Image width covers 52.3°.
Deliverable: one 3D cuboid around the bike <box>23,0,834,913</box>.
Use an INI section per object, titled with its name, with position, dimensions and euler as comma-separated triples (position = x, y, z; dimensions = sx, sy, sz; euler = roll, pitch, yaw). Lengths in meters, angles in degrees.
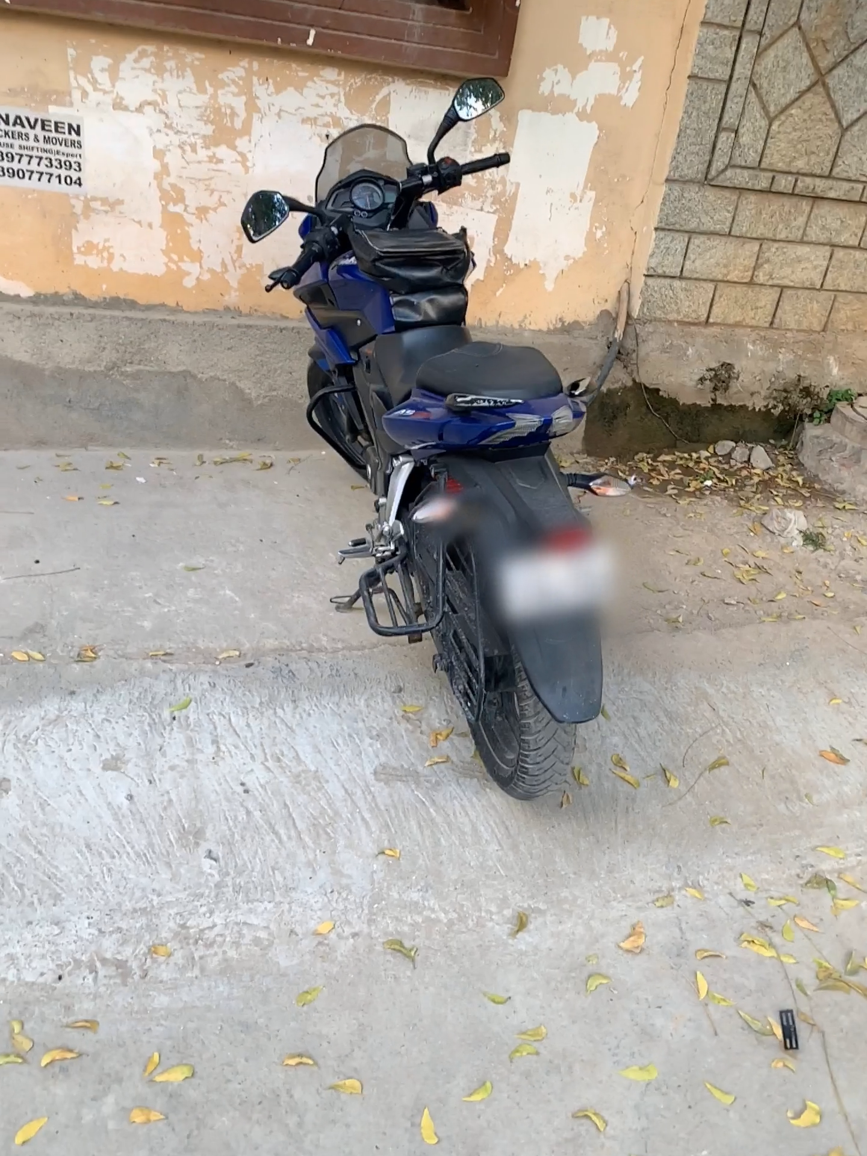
[bike]
position = -0.252, -0.450, 1.981
dimensions = 0.953, 1.218, 1.572
euler = -6, 39, -24
